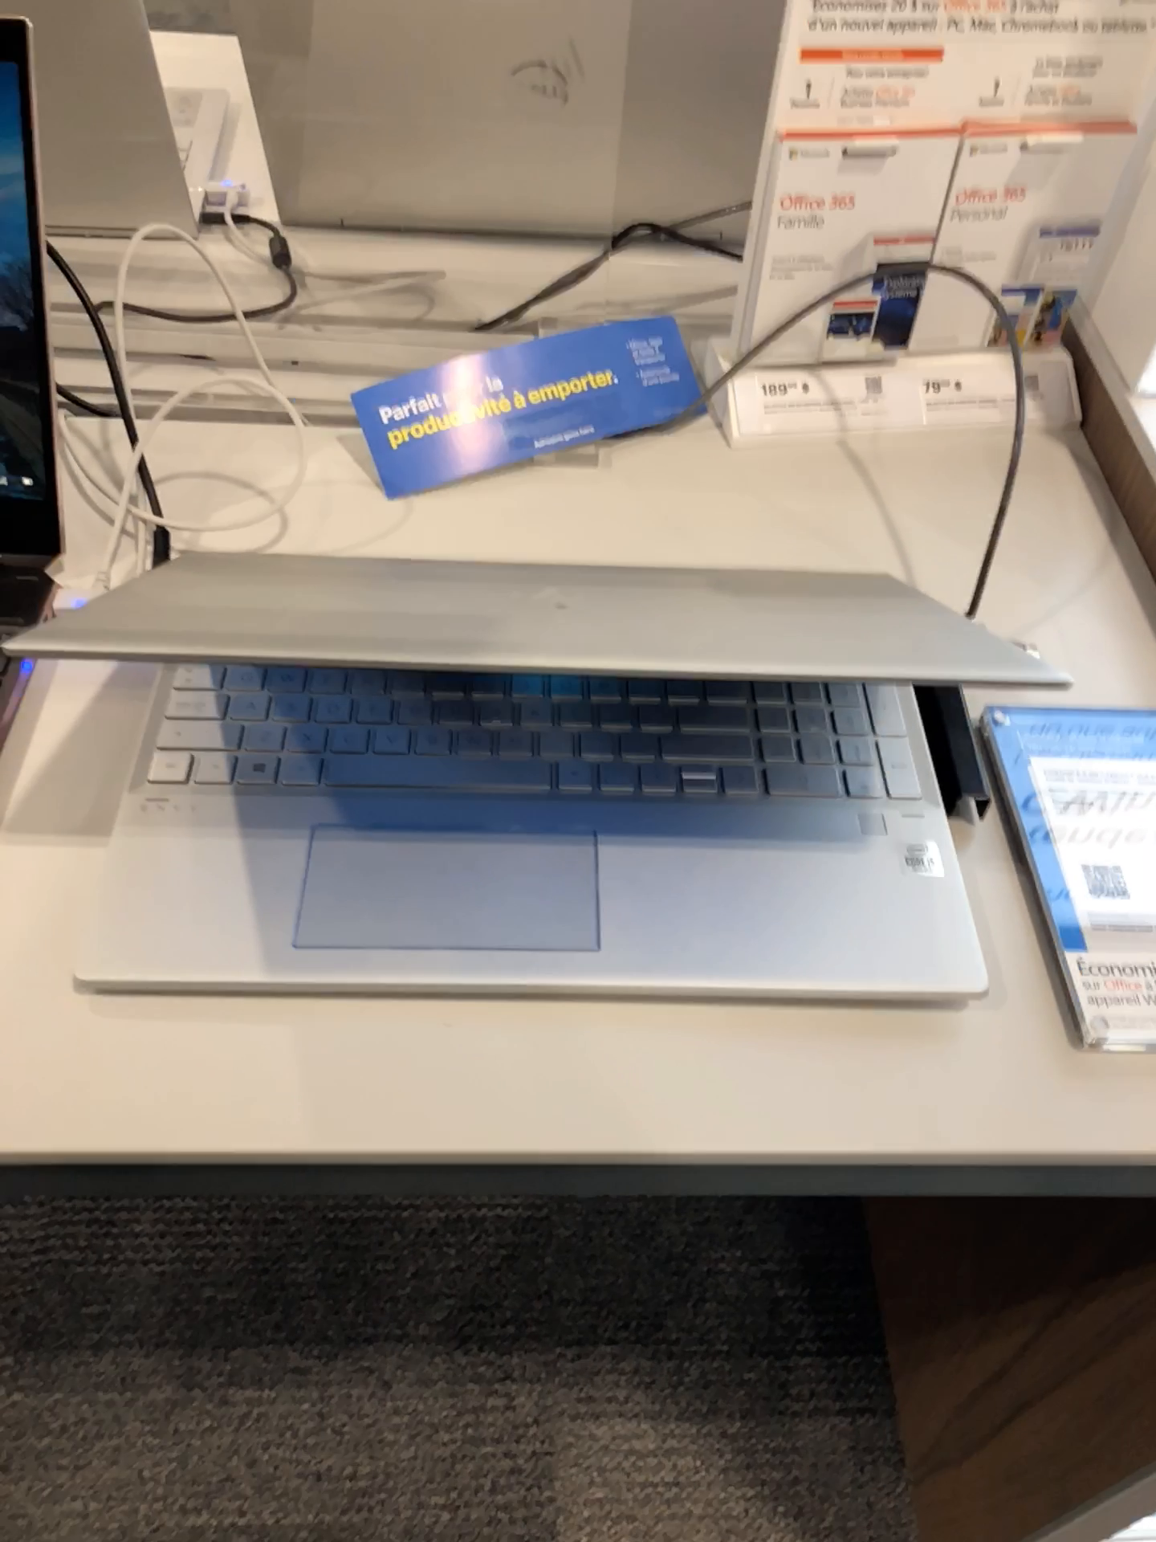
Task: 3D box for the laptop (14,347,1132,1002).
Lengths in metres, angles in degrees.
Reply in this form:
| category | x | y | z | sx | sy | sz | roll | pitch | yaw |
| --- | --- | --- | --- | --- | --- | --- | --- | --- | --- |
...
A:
| category | x | y | z | sx | sy | sz | roll | pitch | yaw |
| --- | --- | --- | --- | --- | --- | --- | --- | --- | --- |
| laptop | -0.005 | -0.045 | 0.510 | 0.346 | 0.116 | 0.230 | 2 | 50 | -2 |
